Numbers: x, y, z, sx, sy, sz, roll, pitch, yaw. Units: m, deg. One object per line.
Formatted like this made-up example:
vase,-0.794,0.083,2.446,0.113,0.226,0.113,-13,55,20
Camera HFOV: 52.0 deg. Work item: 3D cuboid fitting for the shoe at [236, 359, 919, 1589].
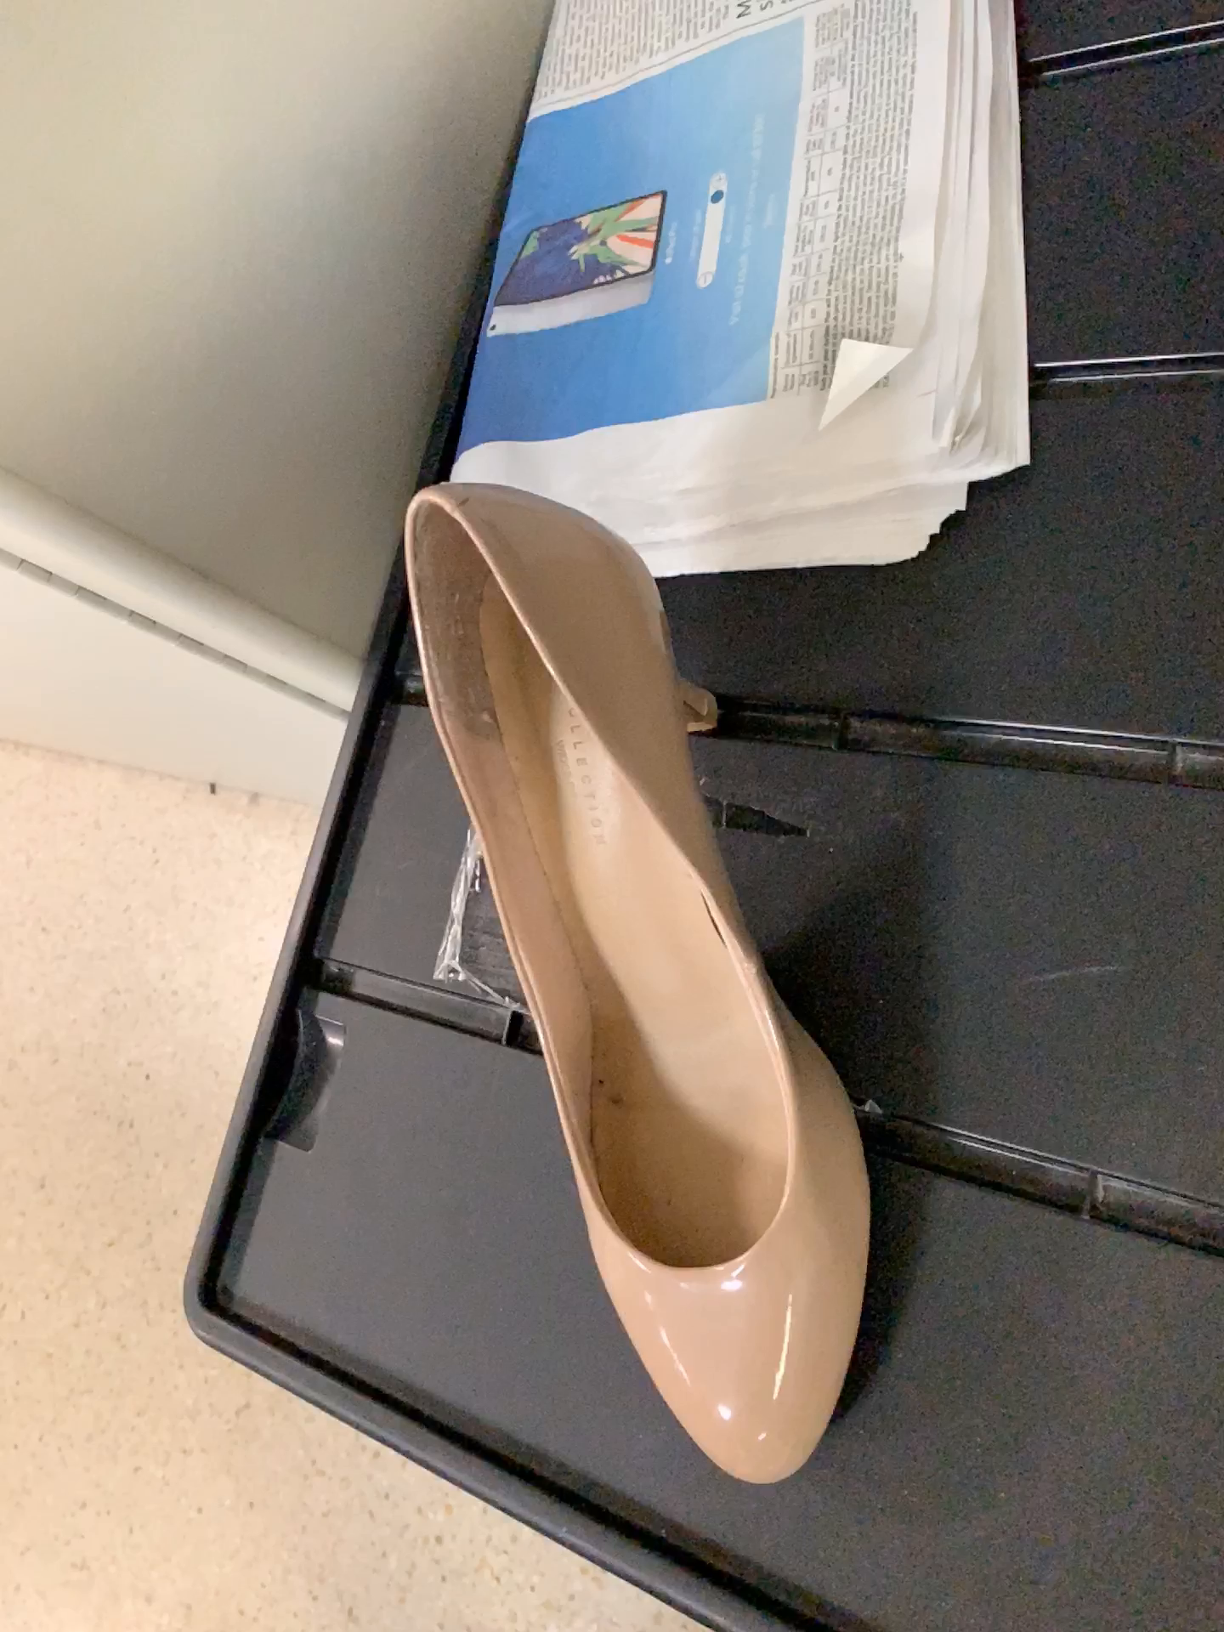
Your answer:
shoe,0.004,0.038,0.324,0.097,0.141,0.240,-9,70,30
